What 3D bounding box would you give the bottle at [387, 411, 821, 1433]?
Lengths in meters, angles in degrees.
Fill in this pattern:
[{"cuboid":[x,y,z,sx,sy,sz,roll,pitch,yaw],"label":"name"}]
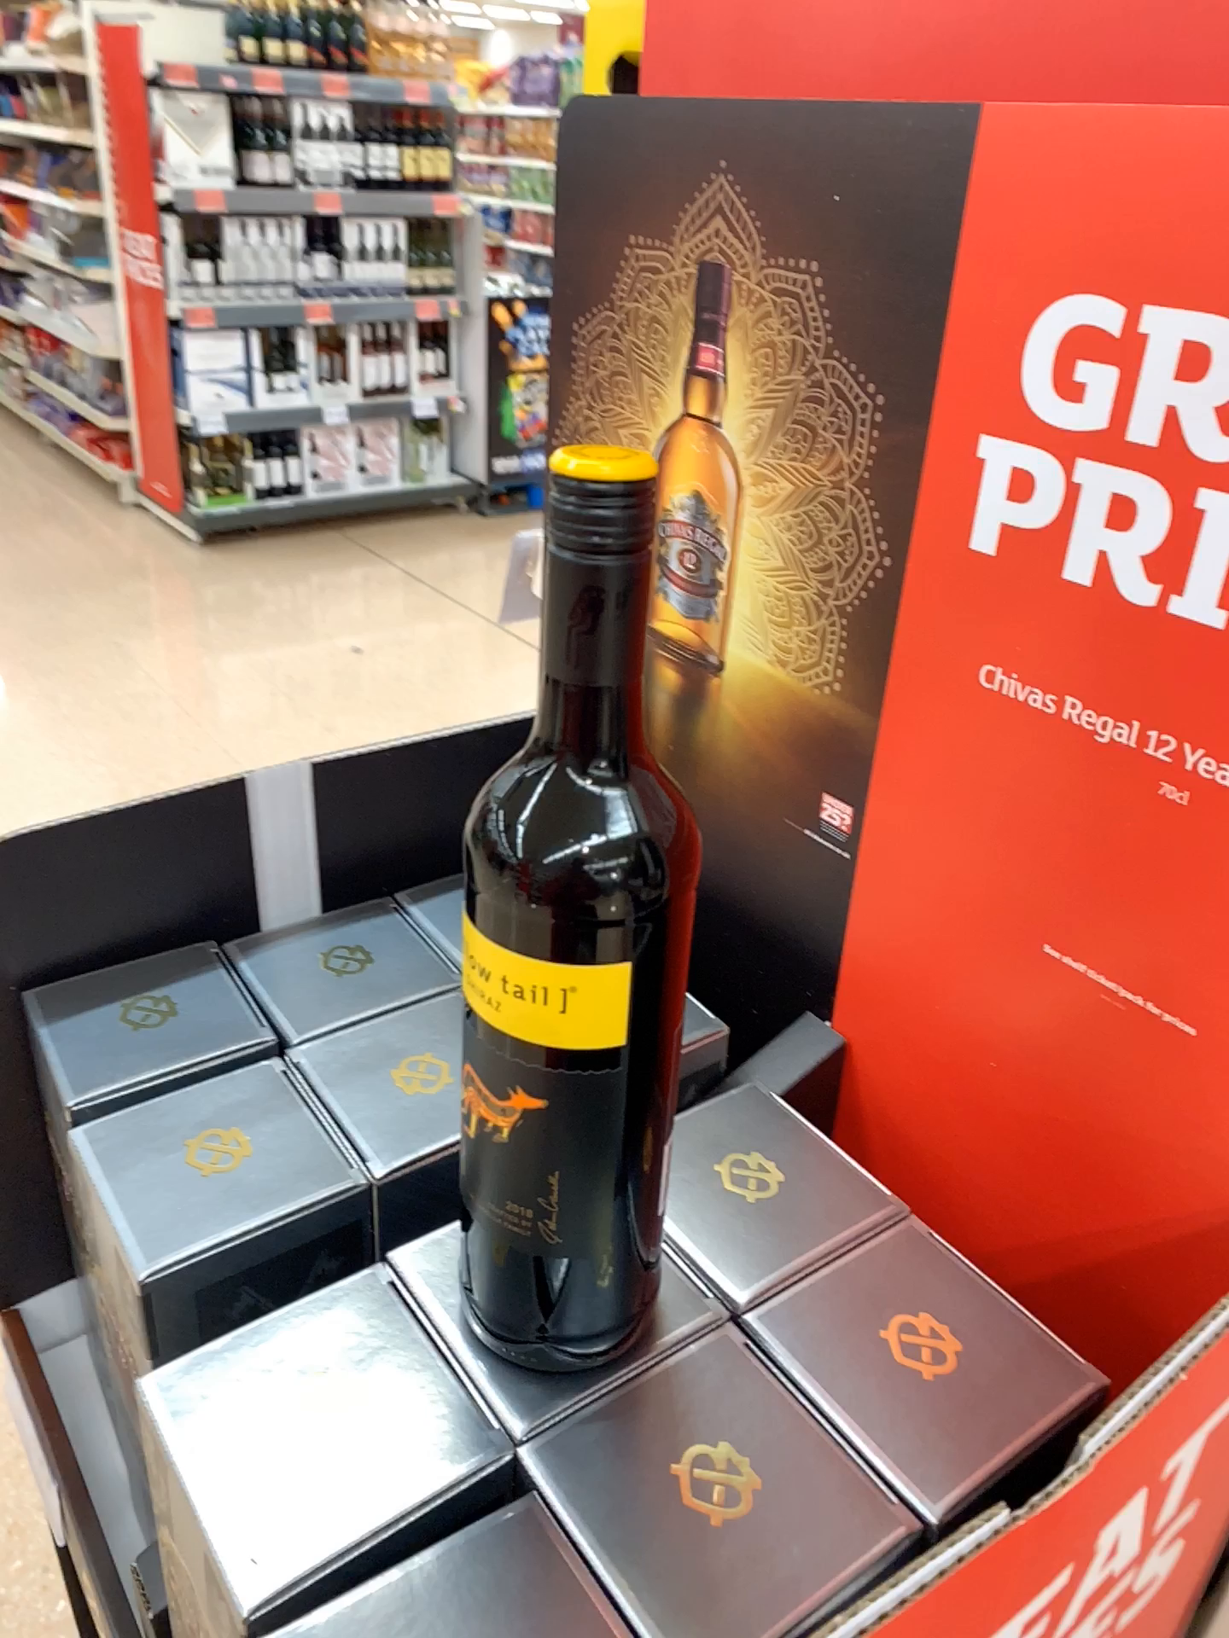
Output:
[{"cuboid":[-0.012,0.041,0.390,0.081,0.304,0.078,3,28,-1],"label":"bottle"}]
